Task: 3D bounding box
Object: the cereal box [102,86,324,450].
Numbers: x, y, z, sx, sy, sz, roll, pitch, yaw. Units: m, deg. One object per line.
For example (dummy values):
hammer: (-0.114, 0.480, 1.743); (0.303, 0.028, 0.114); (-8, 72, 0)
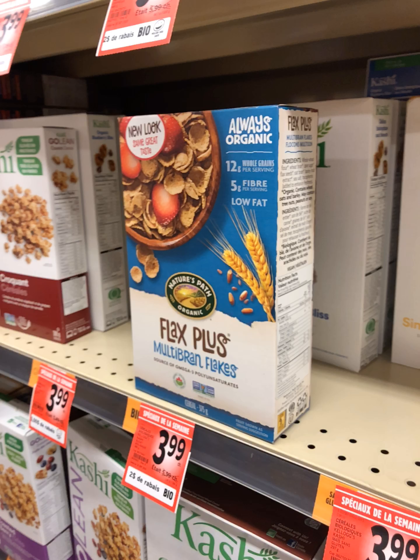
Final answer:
cereal box: (0.002, -0.016, 0.410); (0.170, 0.269, 0.070); (10, 20, 37)
